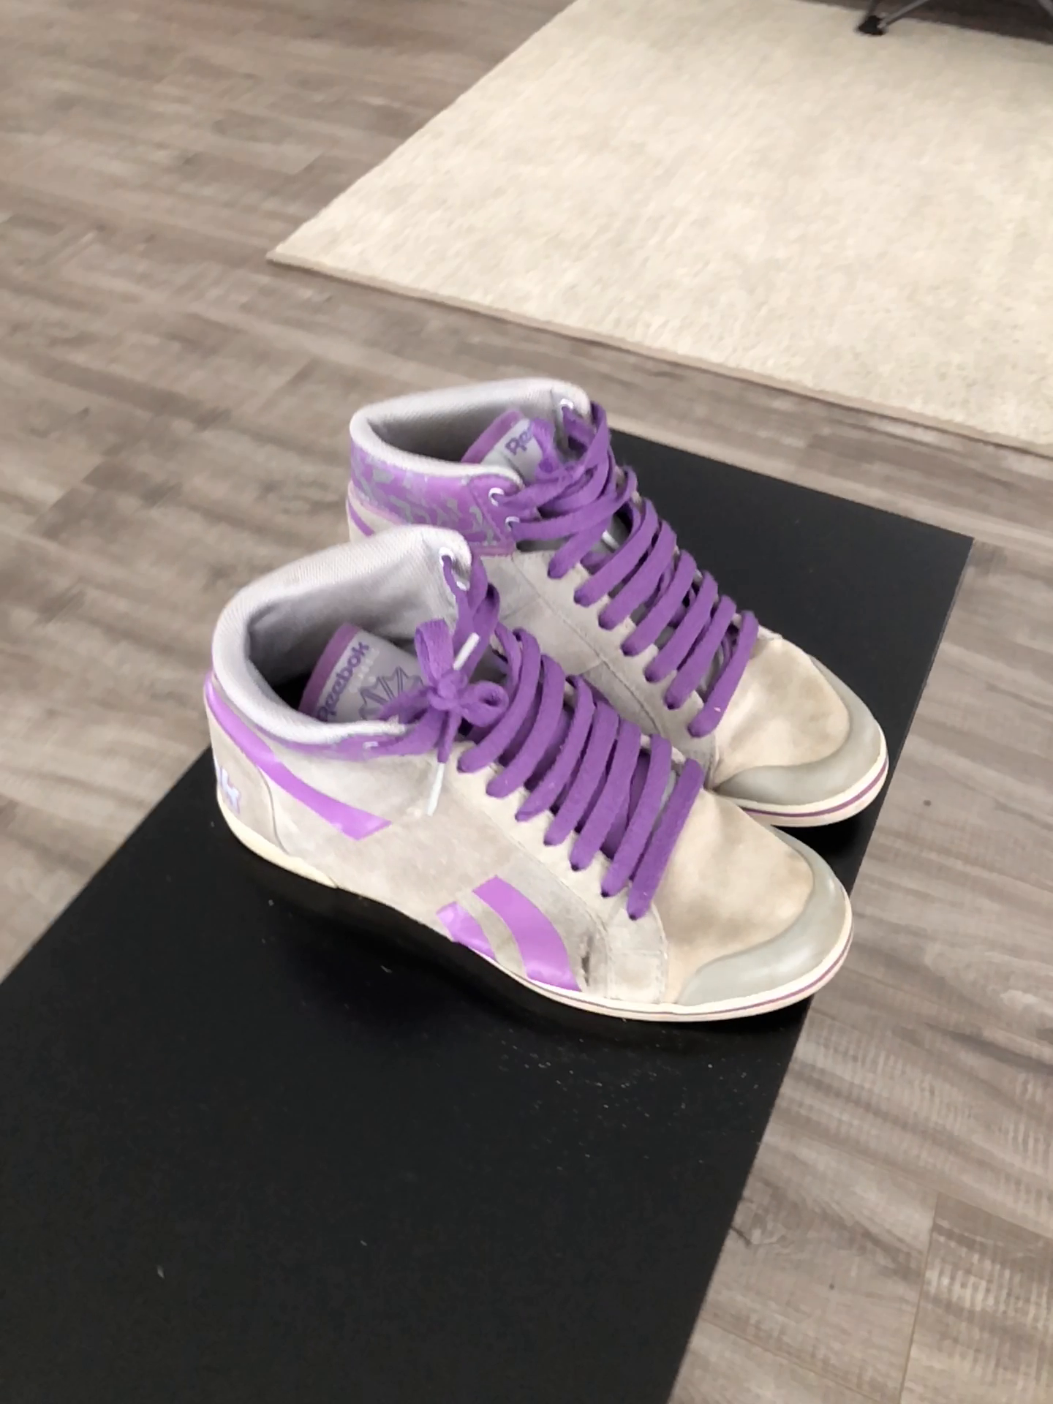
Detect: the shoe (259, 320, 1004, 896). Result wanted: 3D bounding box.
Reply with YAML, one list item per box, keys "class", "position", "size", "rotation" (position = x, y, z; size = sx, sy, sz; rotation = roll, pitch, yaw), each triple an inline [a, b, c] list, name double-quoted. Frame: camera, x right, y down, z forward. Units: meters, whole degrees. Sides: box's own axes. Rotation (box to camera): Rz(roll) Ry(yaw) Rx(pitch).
- class: "shoe"
  position: [0.031, -0.042, 0.439]
  size: [0.240, 0.110, 0.090]
  rotation: [23, 51, 19]

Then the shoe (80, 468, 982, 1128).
- class: "shoe"
  position: [0.002, 0.027, 0.379]
  size: [0.240, 0.120, 0.100]
  rotation: [16, 49, 13]
